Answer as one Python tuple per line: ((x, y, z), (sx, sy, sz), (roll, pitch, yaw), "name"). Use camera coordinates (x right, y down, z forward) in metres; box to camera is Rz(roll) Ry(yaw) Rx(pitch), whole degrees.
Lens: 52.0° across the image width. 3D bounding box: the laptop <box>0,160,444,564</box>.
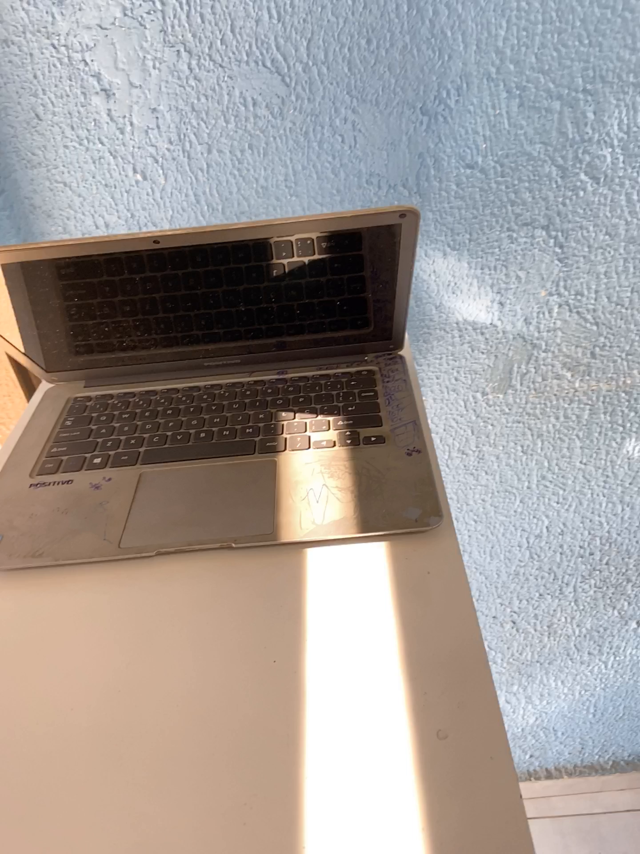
((-0.095, -0.055, 0.466), (0.326, 0.167, 0.213), (-5, 36, 2), "laptop")
